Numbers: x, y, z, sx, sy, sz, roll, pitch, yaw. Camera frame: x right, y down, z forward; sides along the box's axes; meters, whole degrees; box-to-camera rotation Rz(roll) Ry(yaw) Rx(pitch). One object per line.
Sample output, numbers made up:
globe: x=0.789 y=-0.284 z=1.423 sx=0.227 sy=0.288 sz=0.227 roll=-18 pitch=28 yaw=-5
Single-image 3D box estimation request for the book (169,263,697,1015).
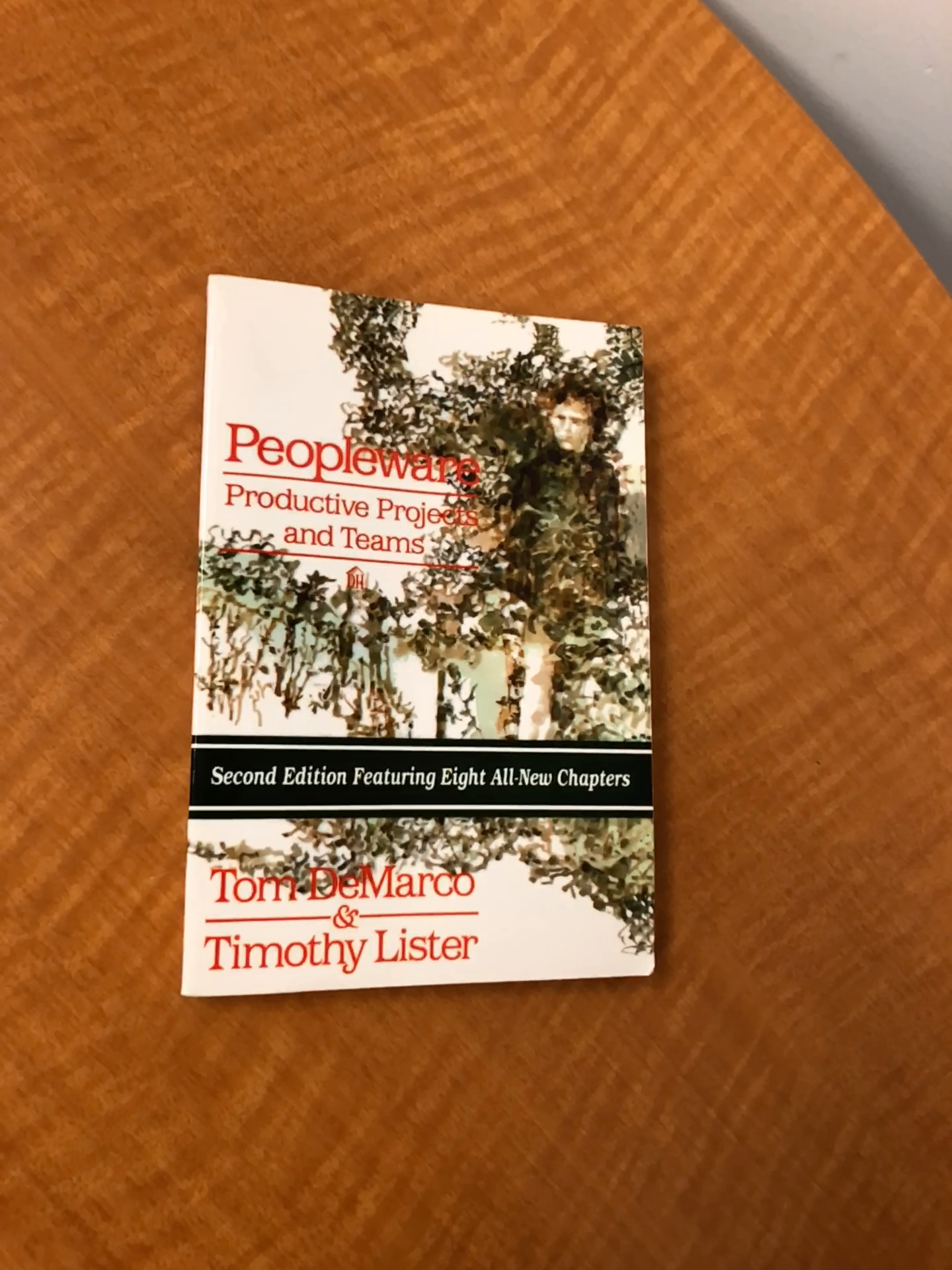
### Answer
book: x=-0.014 y=0.002 z=0.351 sx=0.160 sy=0.050 sz=0.220 roll=2 pitch=81 yaw=-16
